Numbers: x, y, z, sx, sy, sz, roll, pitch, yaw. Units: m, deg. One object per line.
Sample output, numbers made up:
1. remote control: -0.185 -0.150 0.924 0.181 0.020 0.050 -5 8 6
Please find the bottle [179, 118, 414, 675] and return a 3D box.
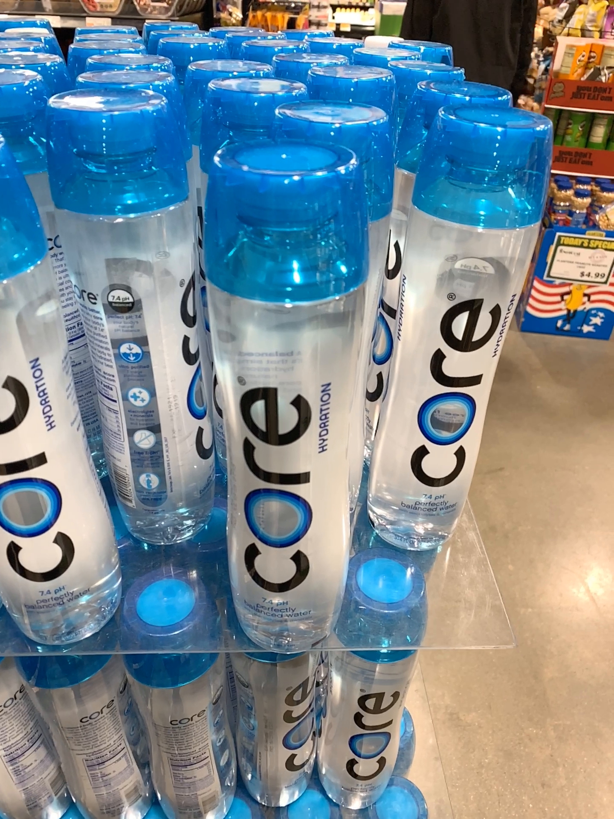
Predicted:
1. bottle: -0.003 0.013 0.332 0.080 0.288 0.091 5 36 4
